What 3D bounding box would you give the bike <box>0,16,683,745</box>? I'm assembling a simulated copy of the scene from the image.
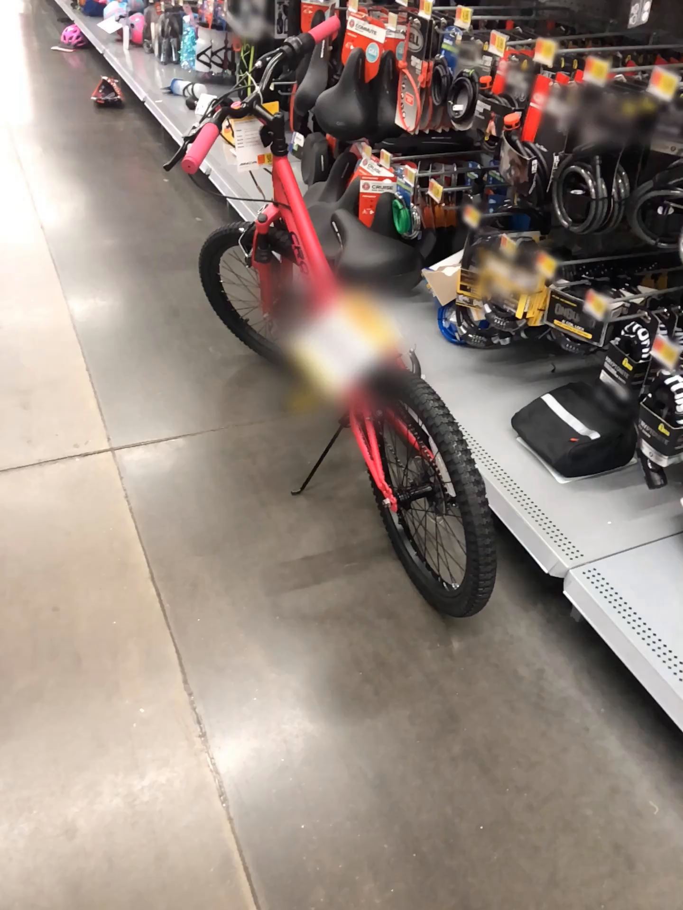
[{"bbox_3d":[-0.144,-0.274,1.473,0.608,0.877,1.229,-16,41,-23],"label":"bike"}]
